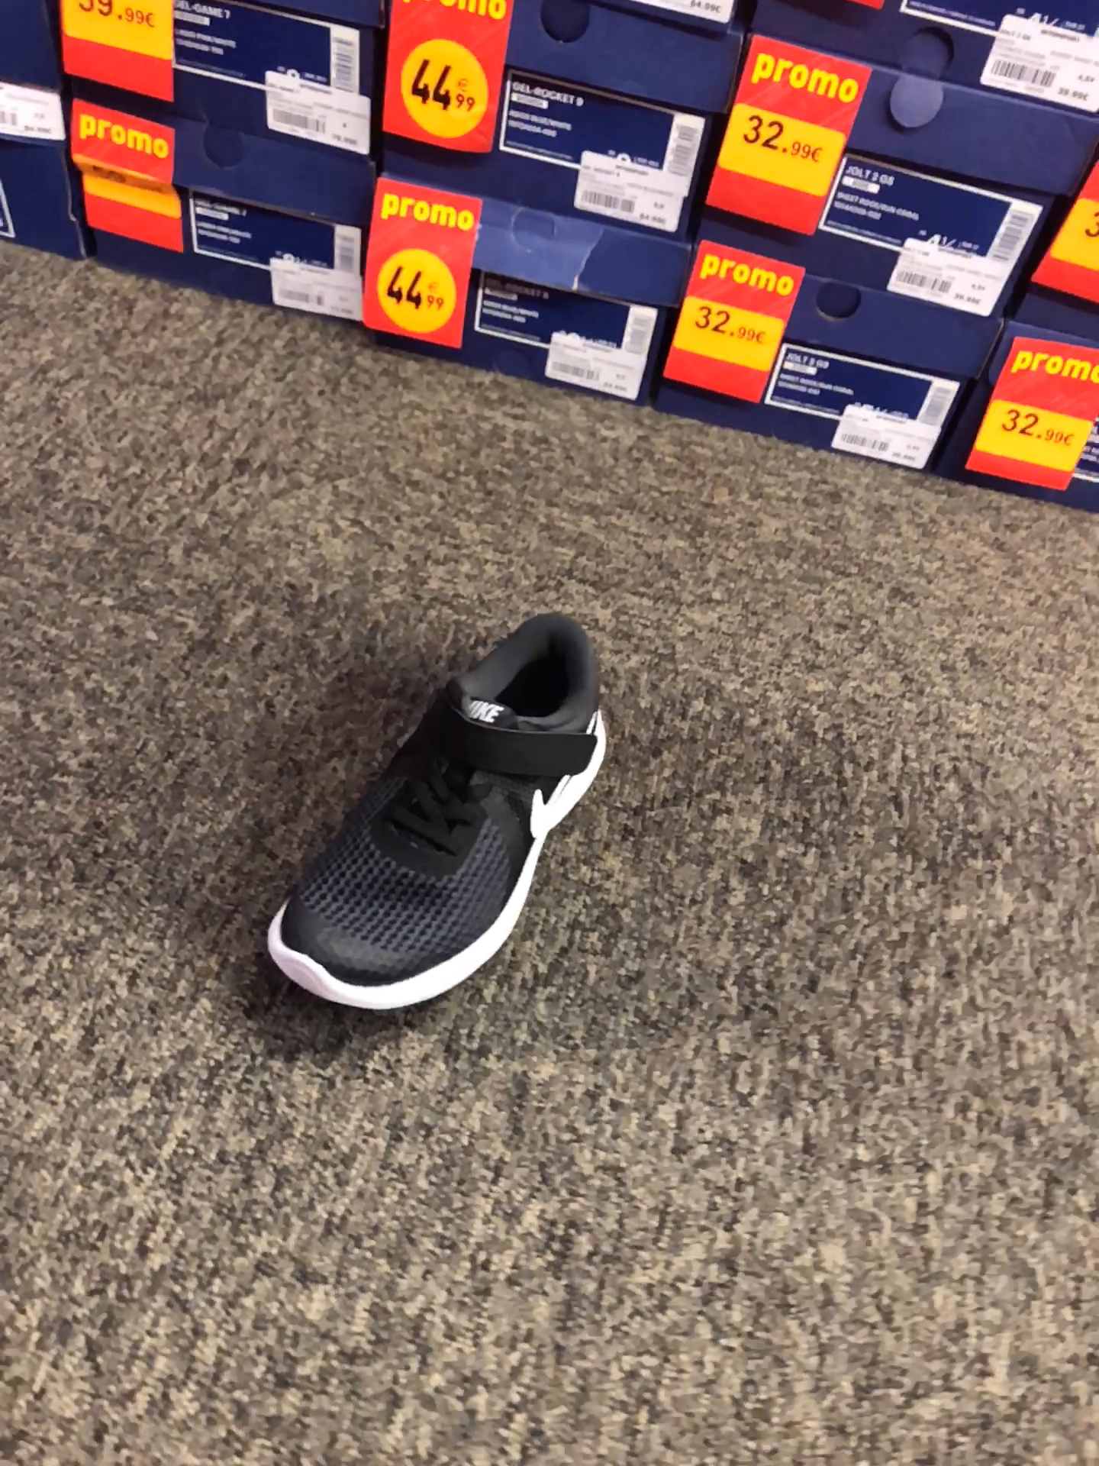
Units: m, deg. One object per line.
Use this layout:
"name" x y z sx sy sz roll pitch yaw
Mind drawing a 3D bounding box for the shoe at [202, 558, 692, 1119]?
"shoe" -0.034 0.033 0.506 0.090 0.080 0.219 27 50 13
